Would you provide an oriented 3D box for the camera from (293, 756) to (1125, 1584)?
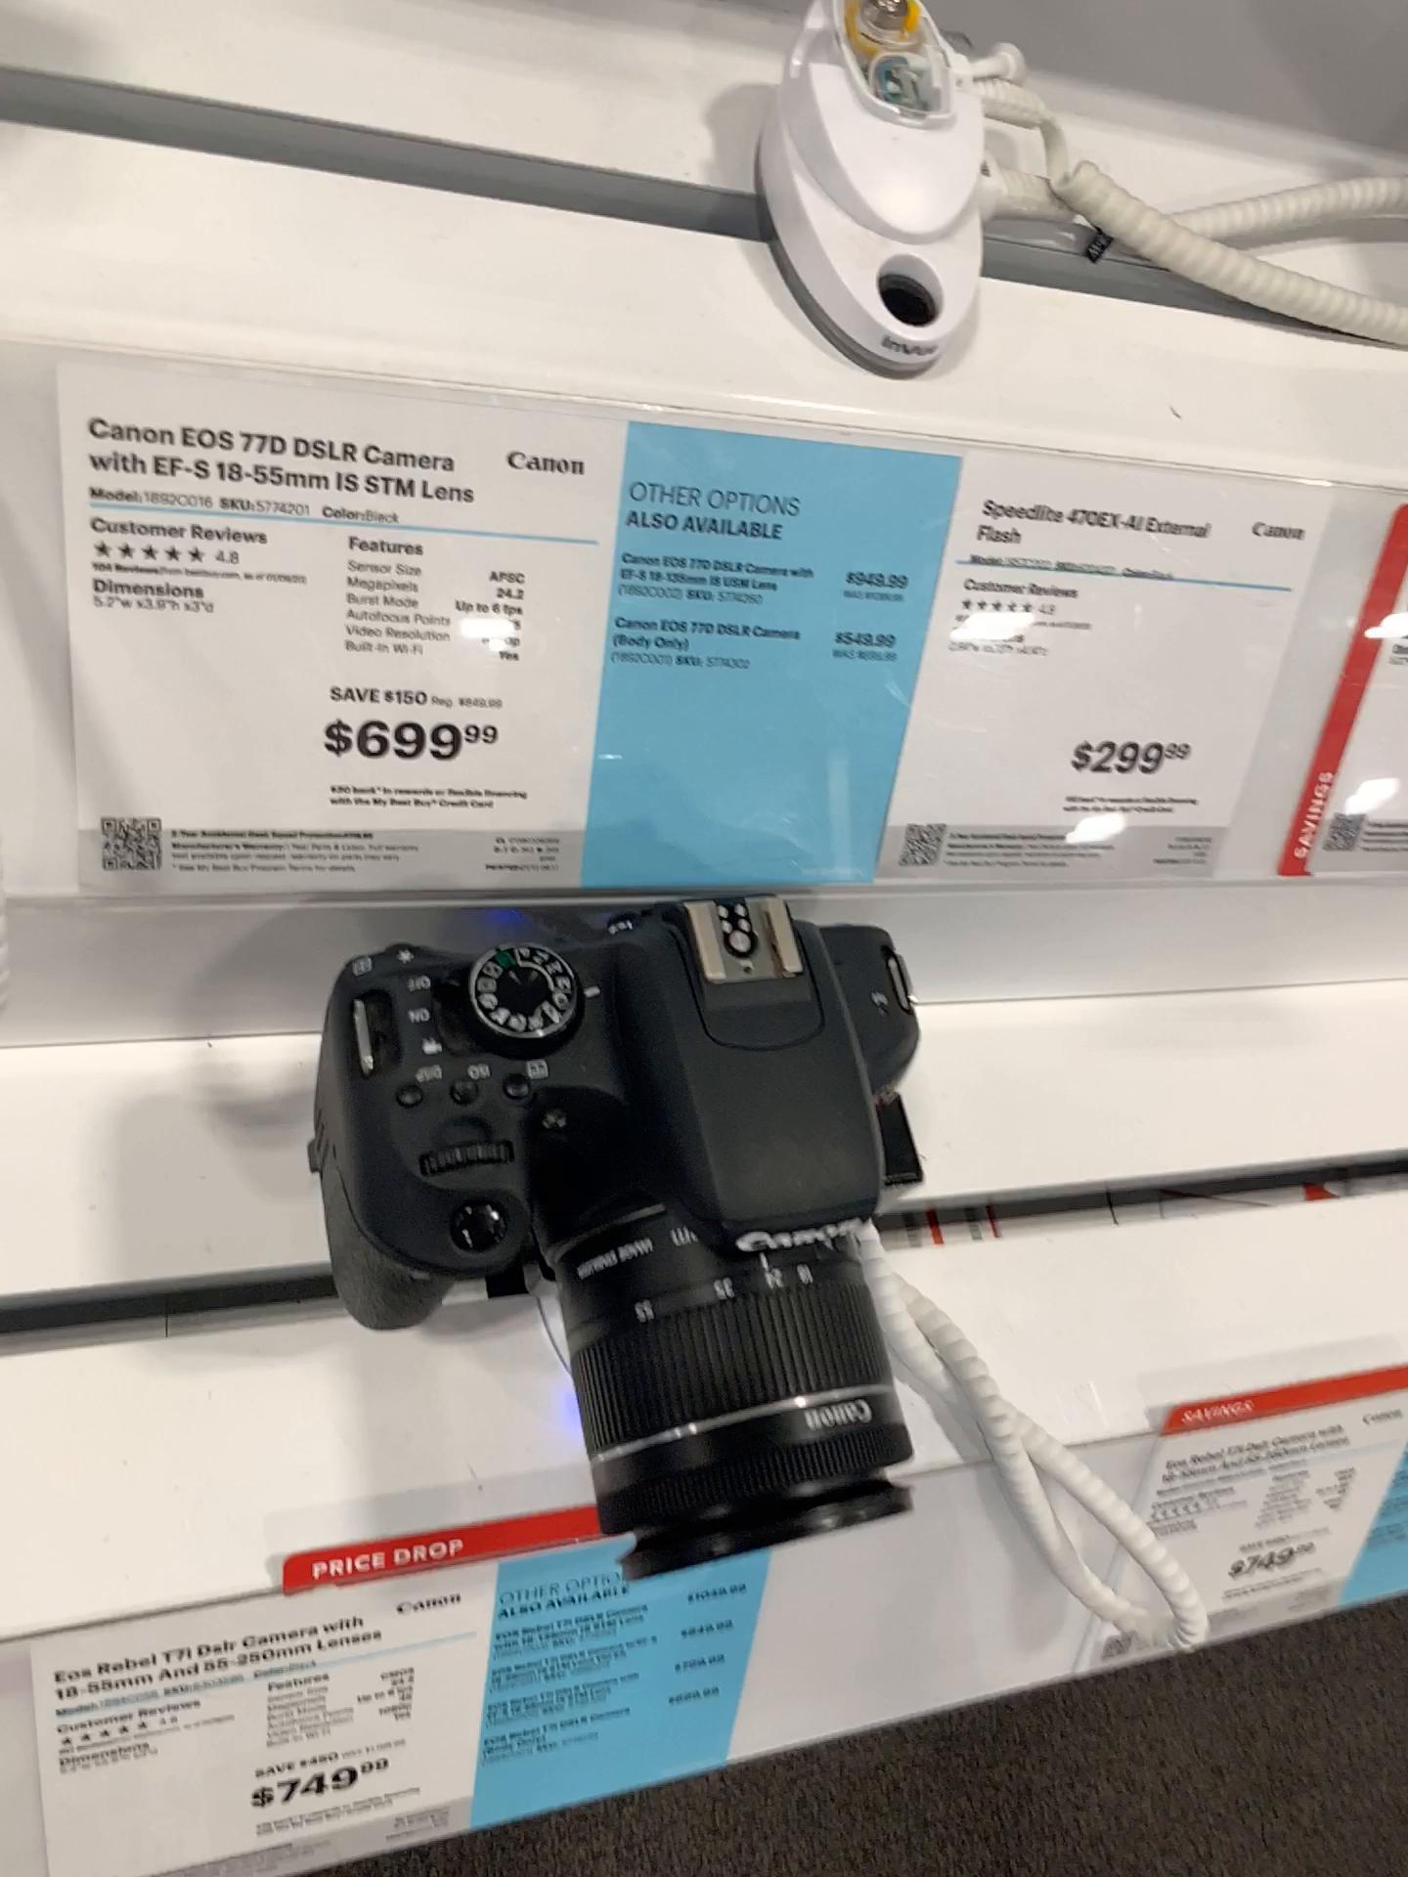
[{"bbox_3d":[-0.012,0.049,0.315,0.130,0.100,0.138,-6,67,-21],"label":"camera"}]
